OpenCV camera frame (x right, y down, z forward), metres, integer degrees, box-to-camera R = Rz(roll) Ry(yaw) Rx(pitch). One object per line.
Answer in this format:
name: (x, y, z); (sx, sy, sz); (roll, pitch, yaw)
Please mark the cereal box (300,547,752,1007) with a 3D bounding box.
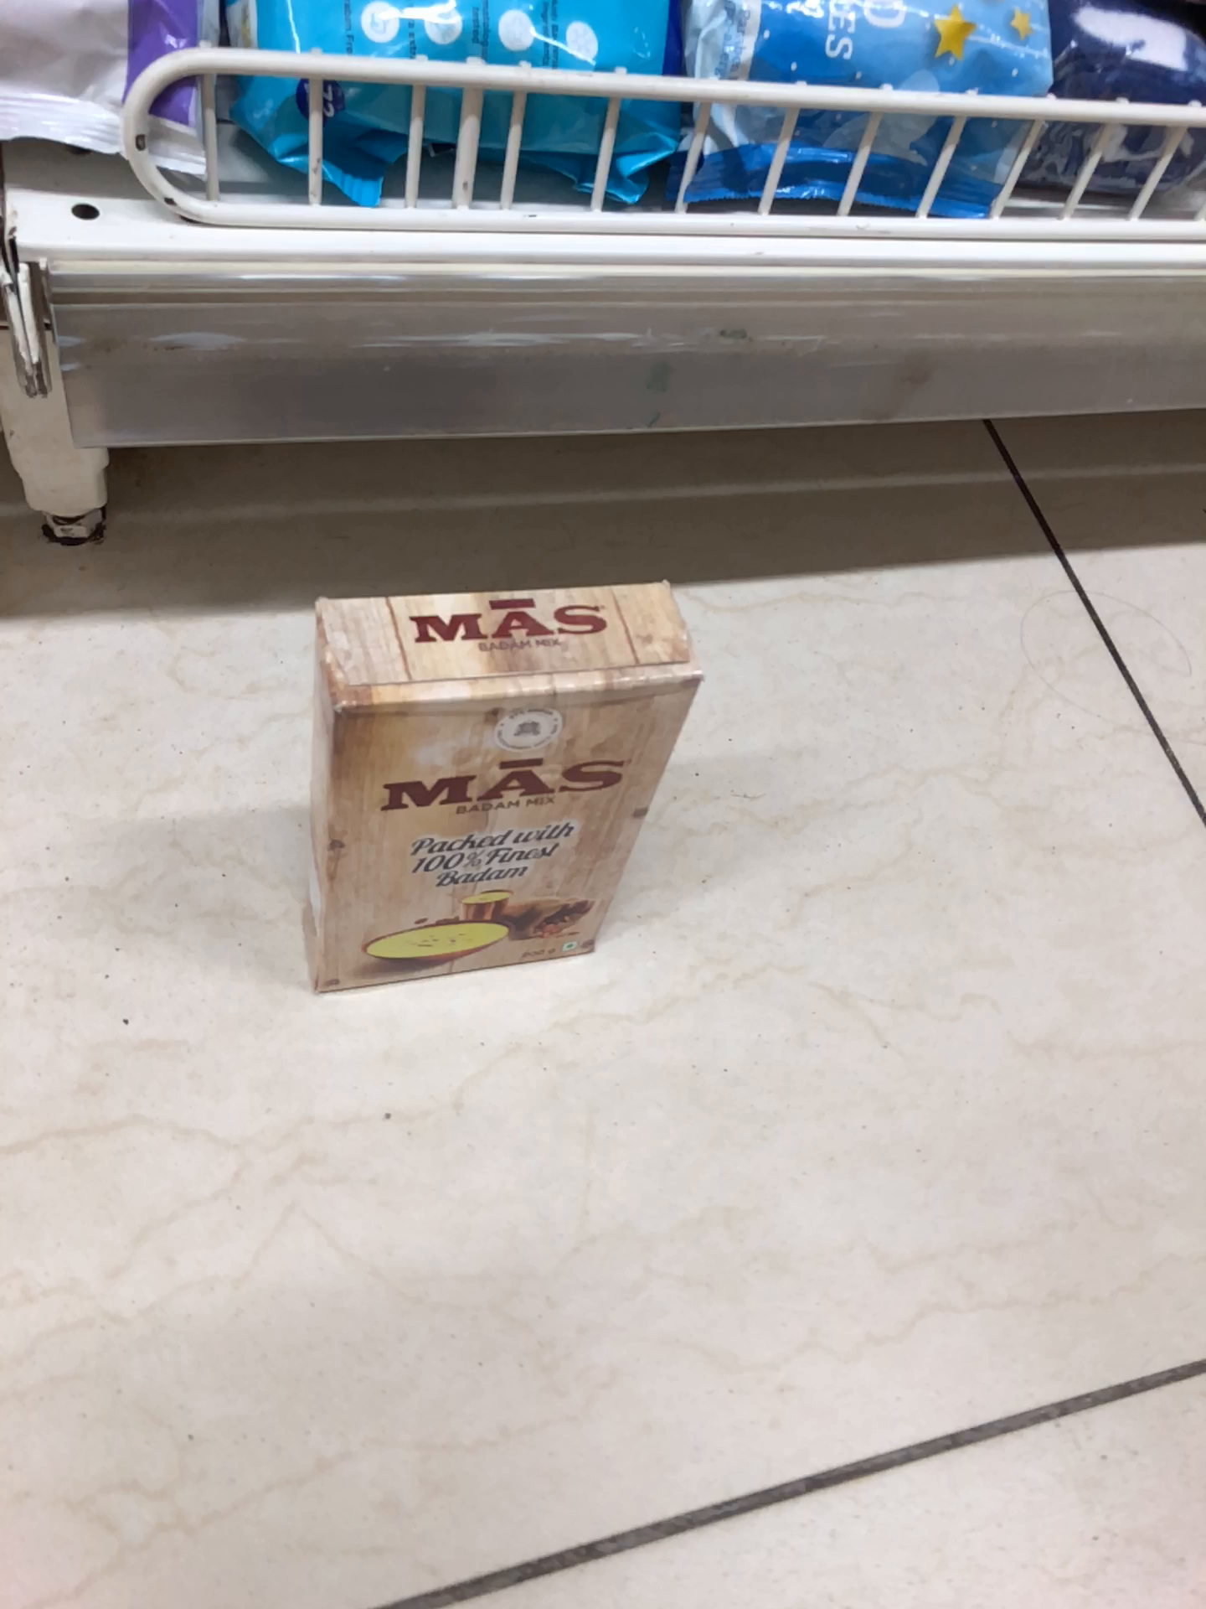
cereal box: (-0.028, -0.003, 0.342); (0.090, 0.129, 0.040); (-6, 56, -19)
